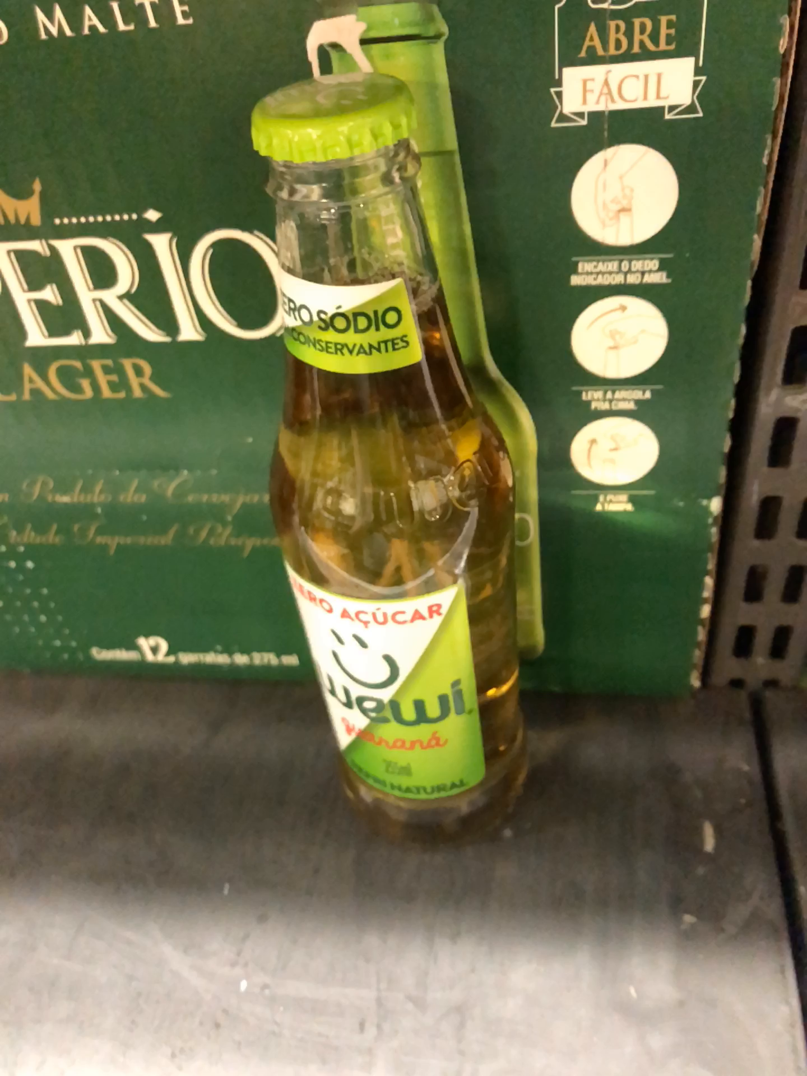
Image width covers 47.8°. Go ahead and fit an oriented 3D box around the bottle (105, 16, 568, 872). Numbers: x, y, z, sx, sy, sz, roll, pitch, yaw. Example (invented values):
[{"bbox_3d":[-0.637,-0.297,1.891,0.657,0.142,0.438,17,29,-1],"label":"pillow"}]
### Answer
[{"bbox_3d":[0.003,-0.003,0.212,0.060,0.199,0.050,10,45,20],"label":"bottle"}]
